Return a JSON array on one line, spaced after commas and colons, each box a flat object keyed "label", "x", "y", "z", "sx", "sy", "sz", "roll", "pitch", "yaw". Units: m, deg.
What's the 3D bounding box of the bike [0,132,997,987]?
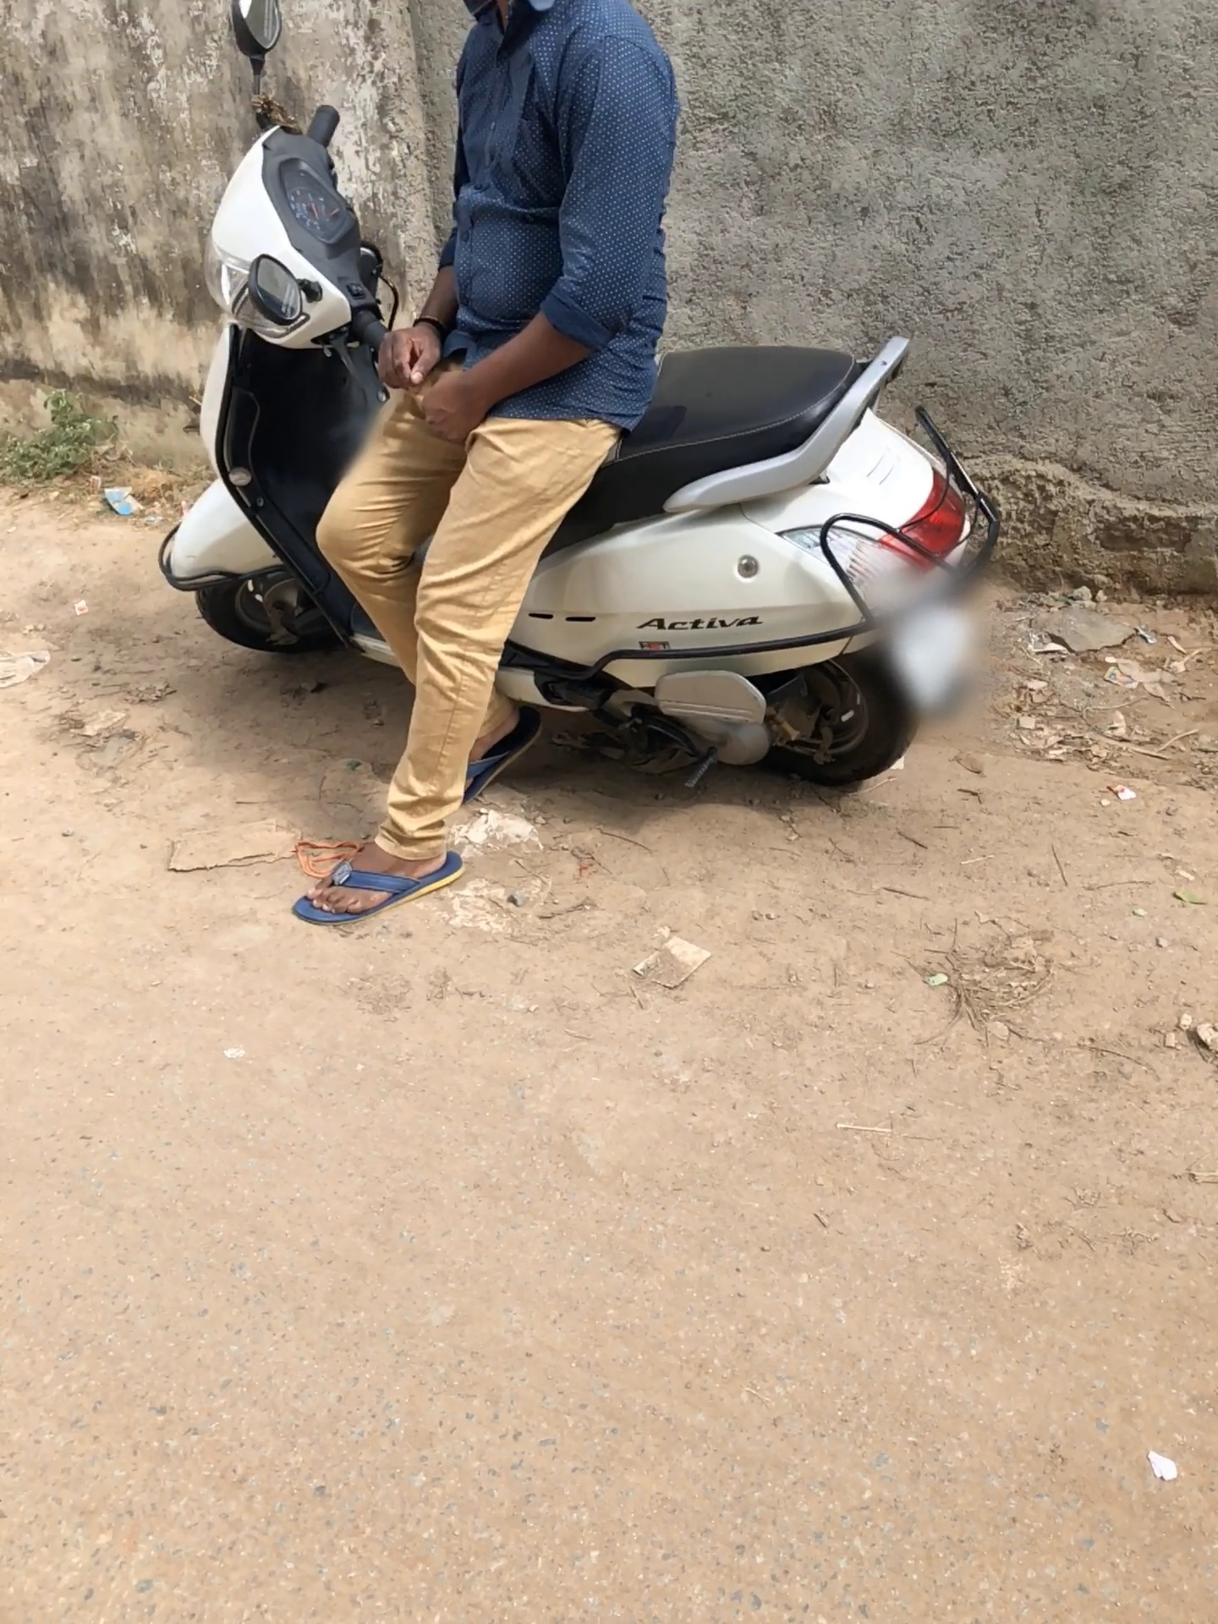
[{"label": "bike", "x": -0.307, "y": -0.524, "z": 2.361, "sx": 1.621, "sy": 1.139, "sz": 0.673, "roll": 13, "pitch": 35, "yaw": 23}]
